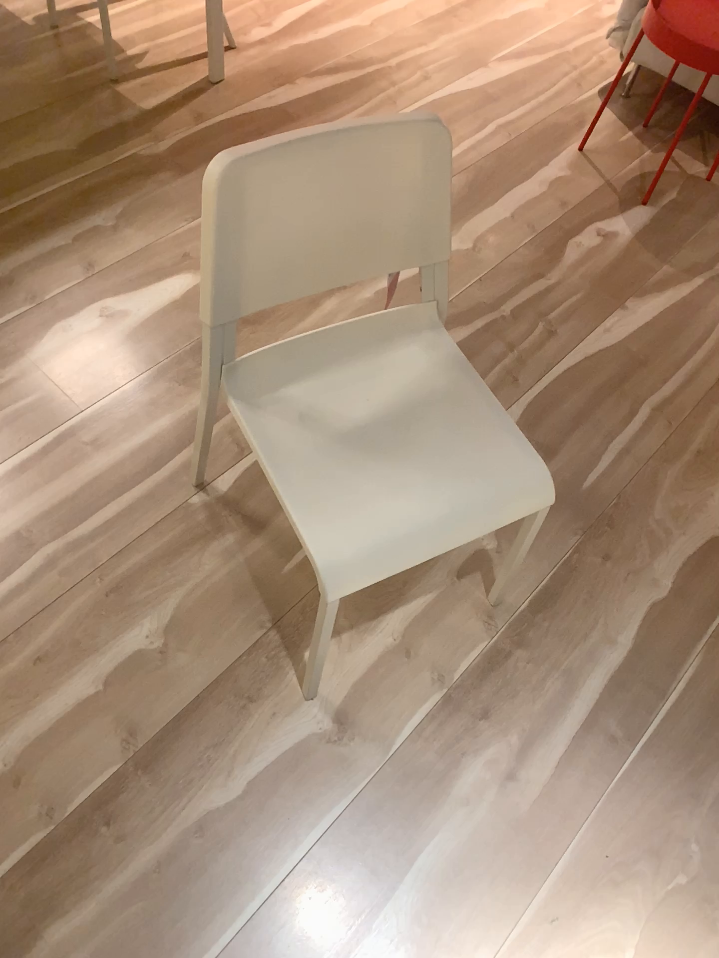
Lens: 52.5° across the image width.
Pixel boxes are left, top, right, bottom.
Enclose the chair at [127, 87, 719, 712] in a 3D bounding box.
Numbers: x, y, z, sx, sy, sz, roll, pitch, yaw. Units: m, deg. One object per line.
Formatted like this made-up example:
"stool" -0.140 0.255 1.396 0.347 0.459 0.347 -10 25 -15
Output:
"chair" 0.029 -0.086 1.168 0.520 0.708 0.551 -22 64 -20
